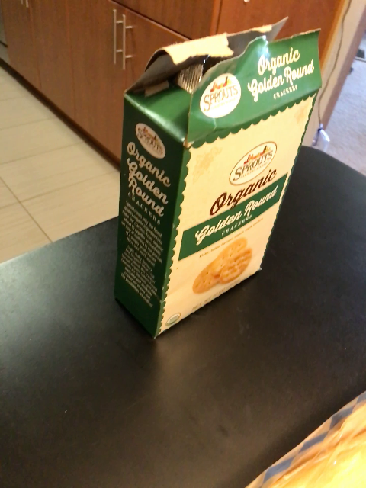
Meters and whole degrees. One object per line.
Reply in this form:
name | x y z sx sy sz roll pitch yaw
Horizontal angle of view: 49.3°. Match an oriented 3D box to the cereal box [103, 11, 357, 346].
cereal box | 0.026 -0.051 0.355 0.171 0.248 0.080 -28 54 -33
